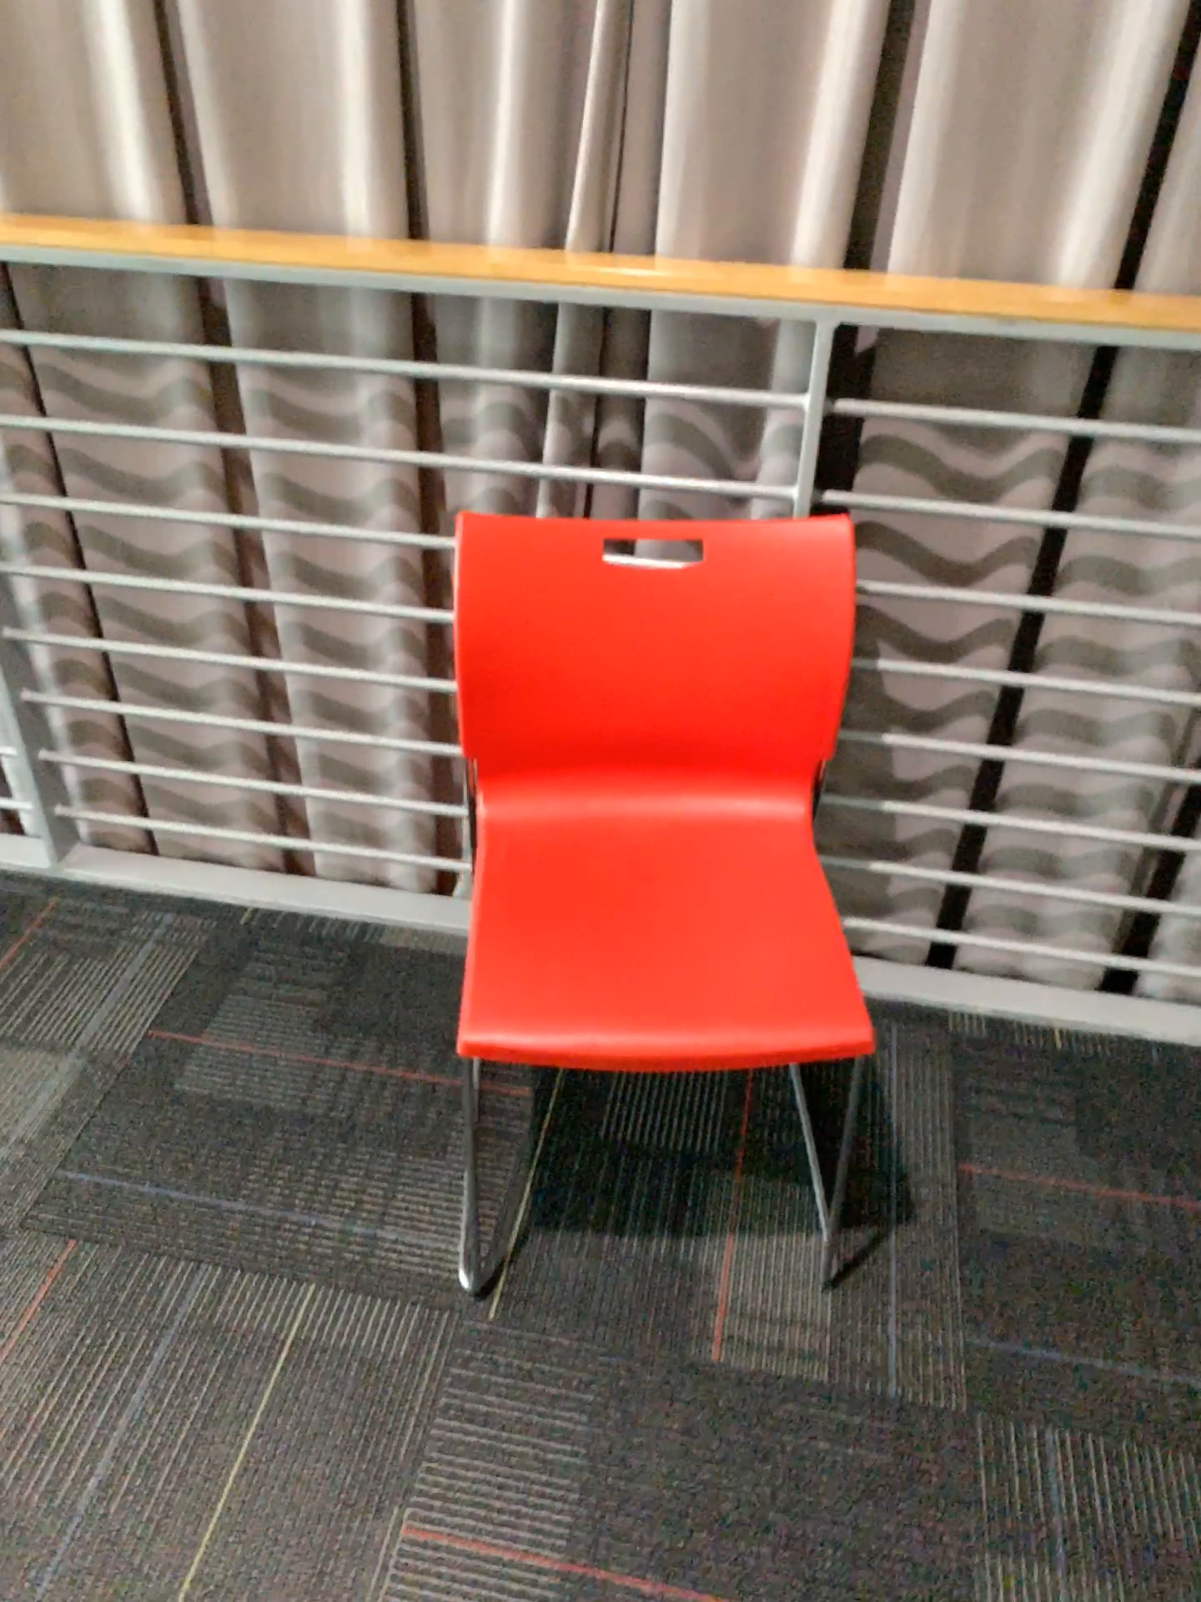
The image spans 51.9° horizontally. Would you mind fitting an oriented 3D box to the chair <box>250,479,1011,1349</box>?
[{"bbox_3d":[0.014,0.147,1.546,0.630,0.854,0.664,1,39,-1],"label":"chair"}]
